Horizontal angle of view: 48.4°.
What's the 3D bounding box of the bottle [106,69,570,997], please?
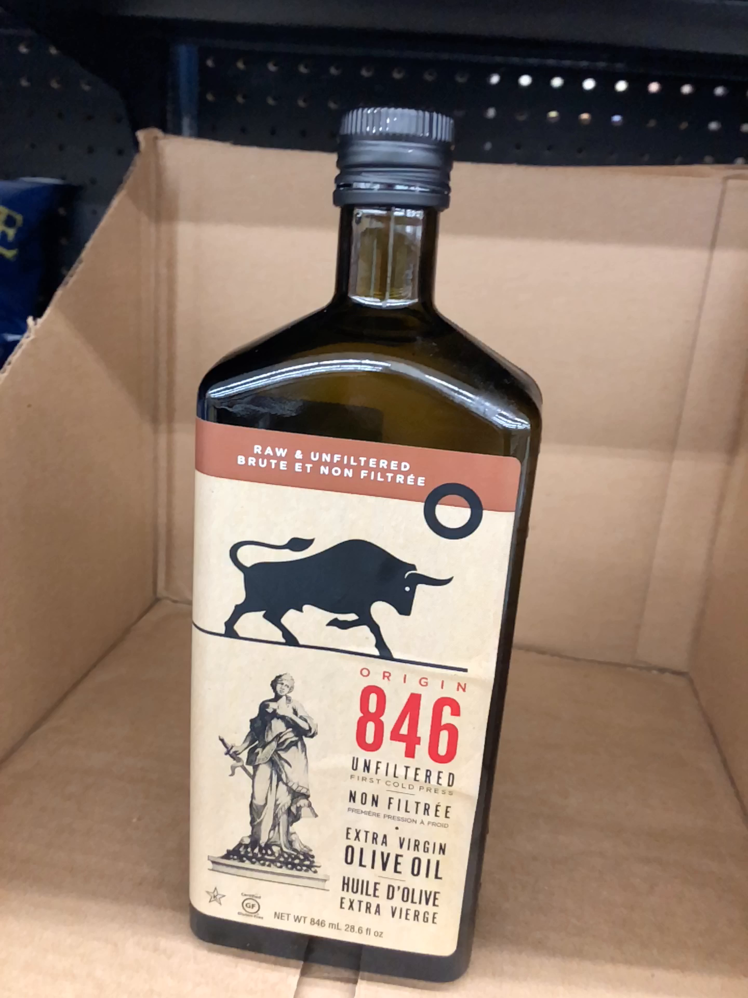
[{"bbox_3d":[-0.013,0.019,0.245,0.100,0.249,0.060,6,19,6],"label":"bottle"}]
